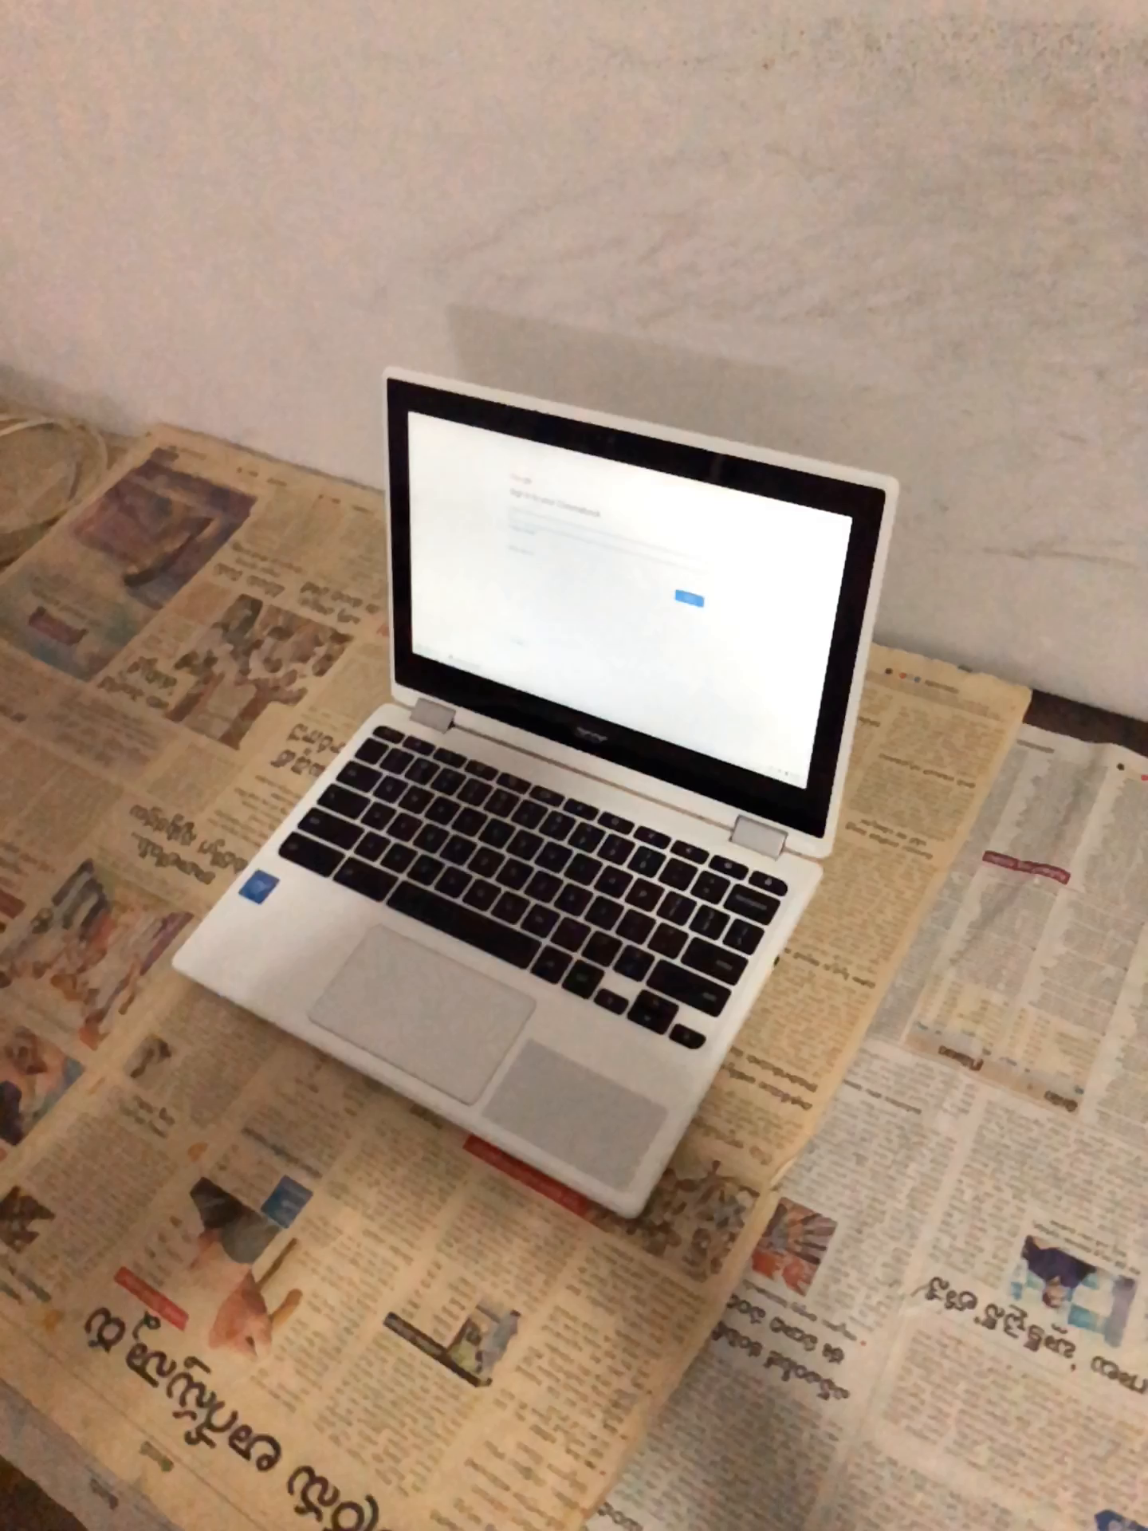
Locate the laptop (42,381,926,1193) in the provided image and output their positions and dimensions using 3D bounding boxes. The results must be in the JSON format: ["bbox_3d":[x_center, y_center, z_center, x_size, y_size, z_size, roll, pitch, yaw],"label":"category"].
[{"bbox_3d":[-0.020,-0.009,0.596,0.268,0.168,0.278,20,58,26],"label":"laptop"}]
